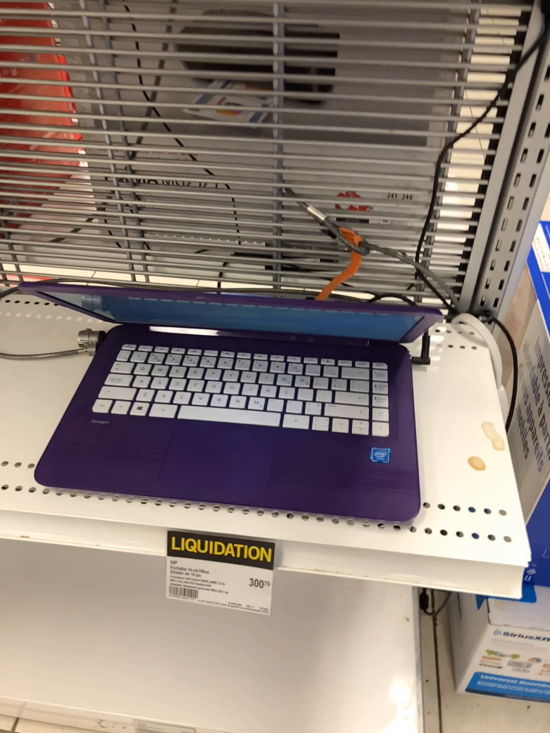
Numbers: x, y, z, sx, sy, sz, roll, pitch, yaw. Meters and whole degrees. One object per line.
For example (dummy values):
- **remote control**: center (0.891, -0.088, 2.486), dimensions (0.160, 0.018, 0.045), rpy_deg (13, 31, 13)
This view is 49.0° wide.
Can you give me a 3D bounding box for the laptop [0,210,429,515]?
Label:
- **laptop**: center (-0.034, -0.015, 0.531), dimensions (0.305, 0.138, 0.207), rpy_deg (4, 44, 6)
